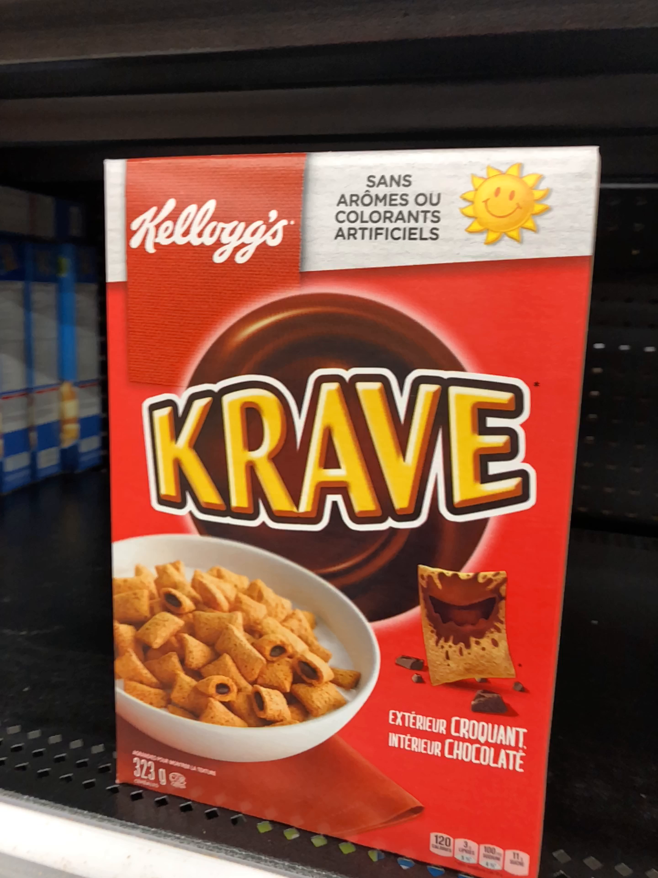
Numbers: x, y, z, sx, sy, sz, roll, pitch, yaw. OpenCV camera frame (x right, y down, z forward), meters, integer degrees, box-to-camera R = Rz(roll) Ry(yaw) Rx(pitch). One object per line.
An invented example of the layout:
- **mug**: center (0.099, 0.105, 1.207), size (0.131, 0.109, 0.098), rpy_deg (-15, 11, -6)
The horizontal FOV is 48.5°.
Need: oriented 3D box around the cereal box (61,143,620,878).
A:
- **cereal box**: center (-0.006, 0.029, 0.311), size (0.210, 0.279, 0.050), rpy_deg (5, 10, 17)
